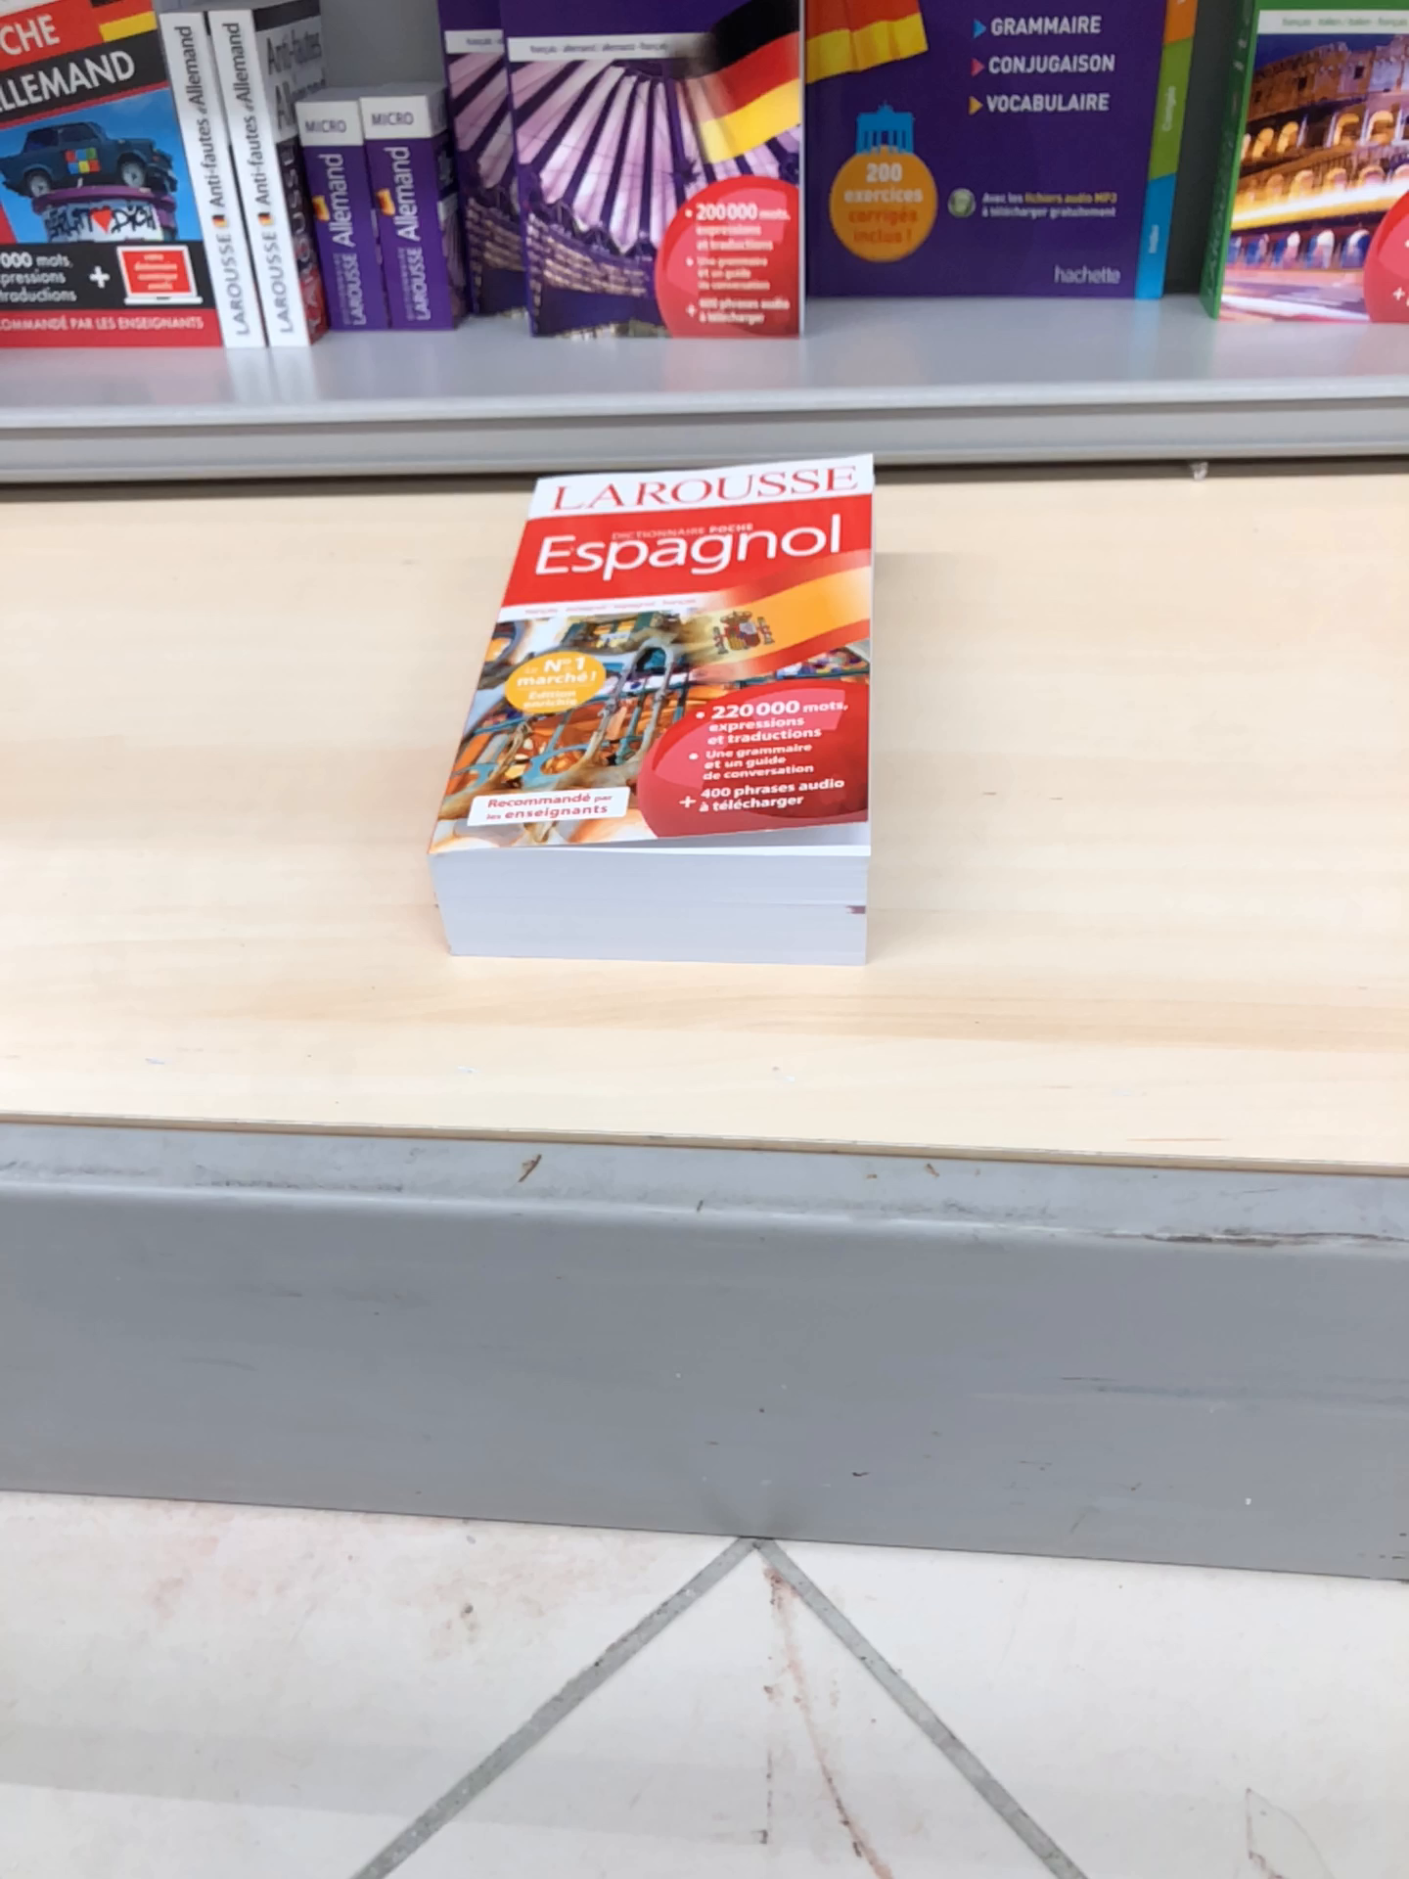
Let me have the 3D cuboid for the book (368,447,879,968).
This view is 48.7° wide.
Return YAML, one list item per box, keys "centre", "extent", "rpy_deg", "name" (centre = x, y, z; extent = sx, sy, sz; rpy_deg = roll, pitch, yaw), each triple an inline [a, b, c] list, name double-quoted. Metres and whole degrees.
- centre: [-0.011, -0.074, 0.435]
  extent: [0.117, 0.044, 0.183]
  rpy_deg: [1, 44, 5]
  name: "book"
